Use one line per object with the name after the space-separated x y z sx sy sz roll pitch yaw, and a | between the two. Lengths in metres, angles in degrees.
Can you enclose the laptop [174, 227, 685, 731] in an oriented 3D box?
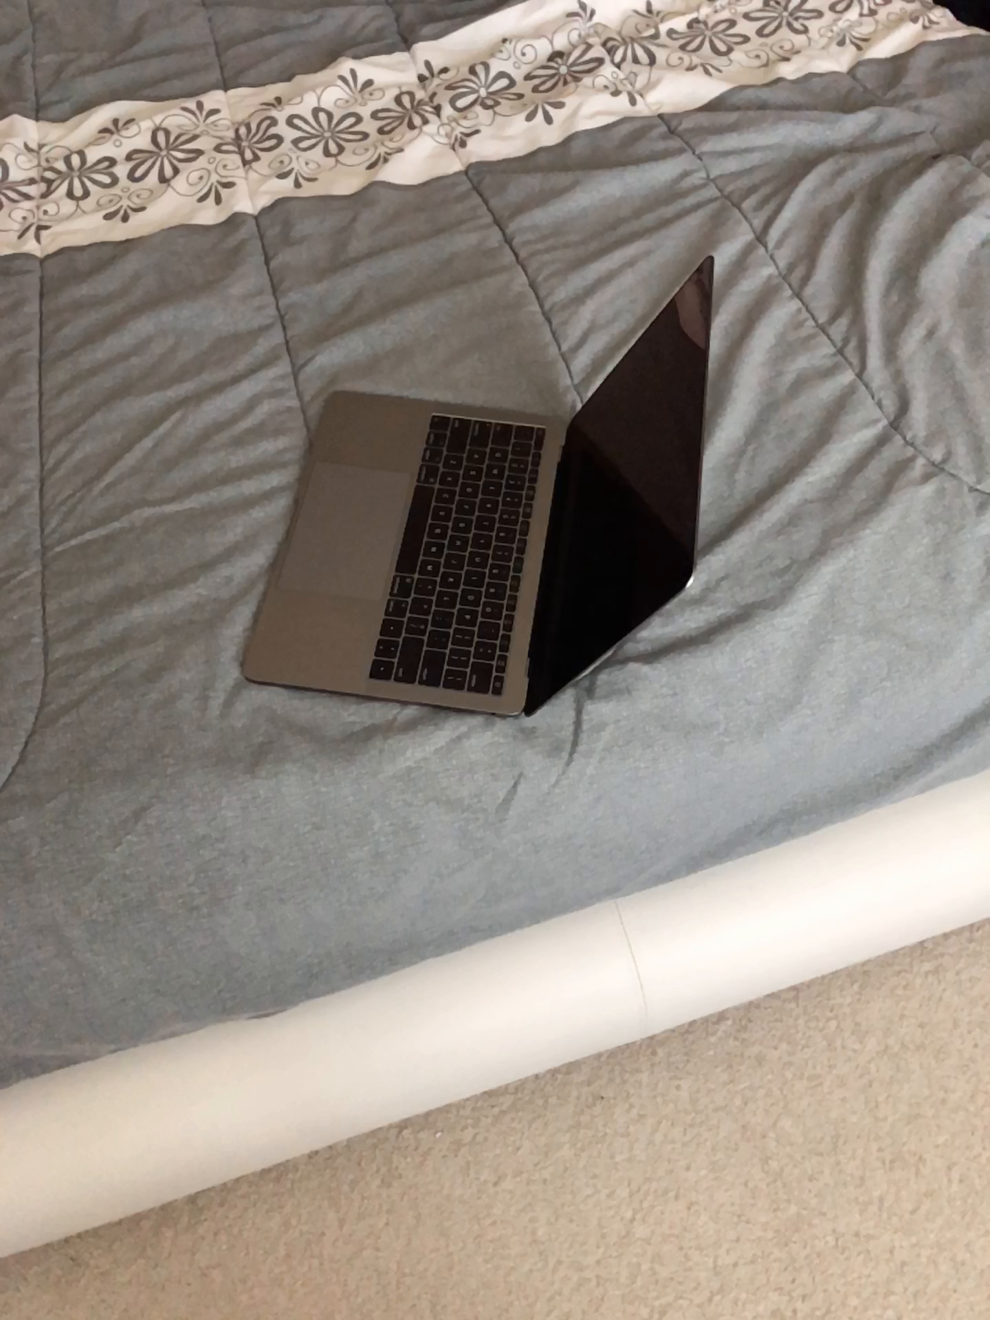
-0.021 -0.131 0.761 0.281 0.159 0.280 7 57 5 | laptop
